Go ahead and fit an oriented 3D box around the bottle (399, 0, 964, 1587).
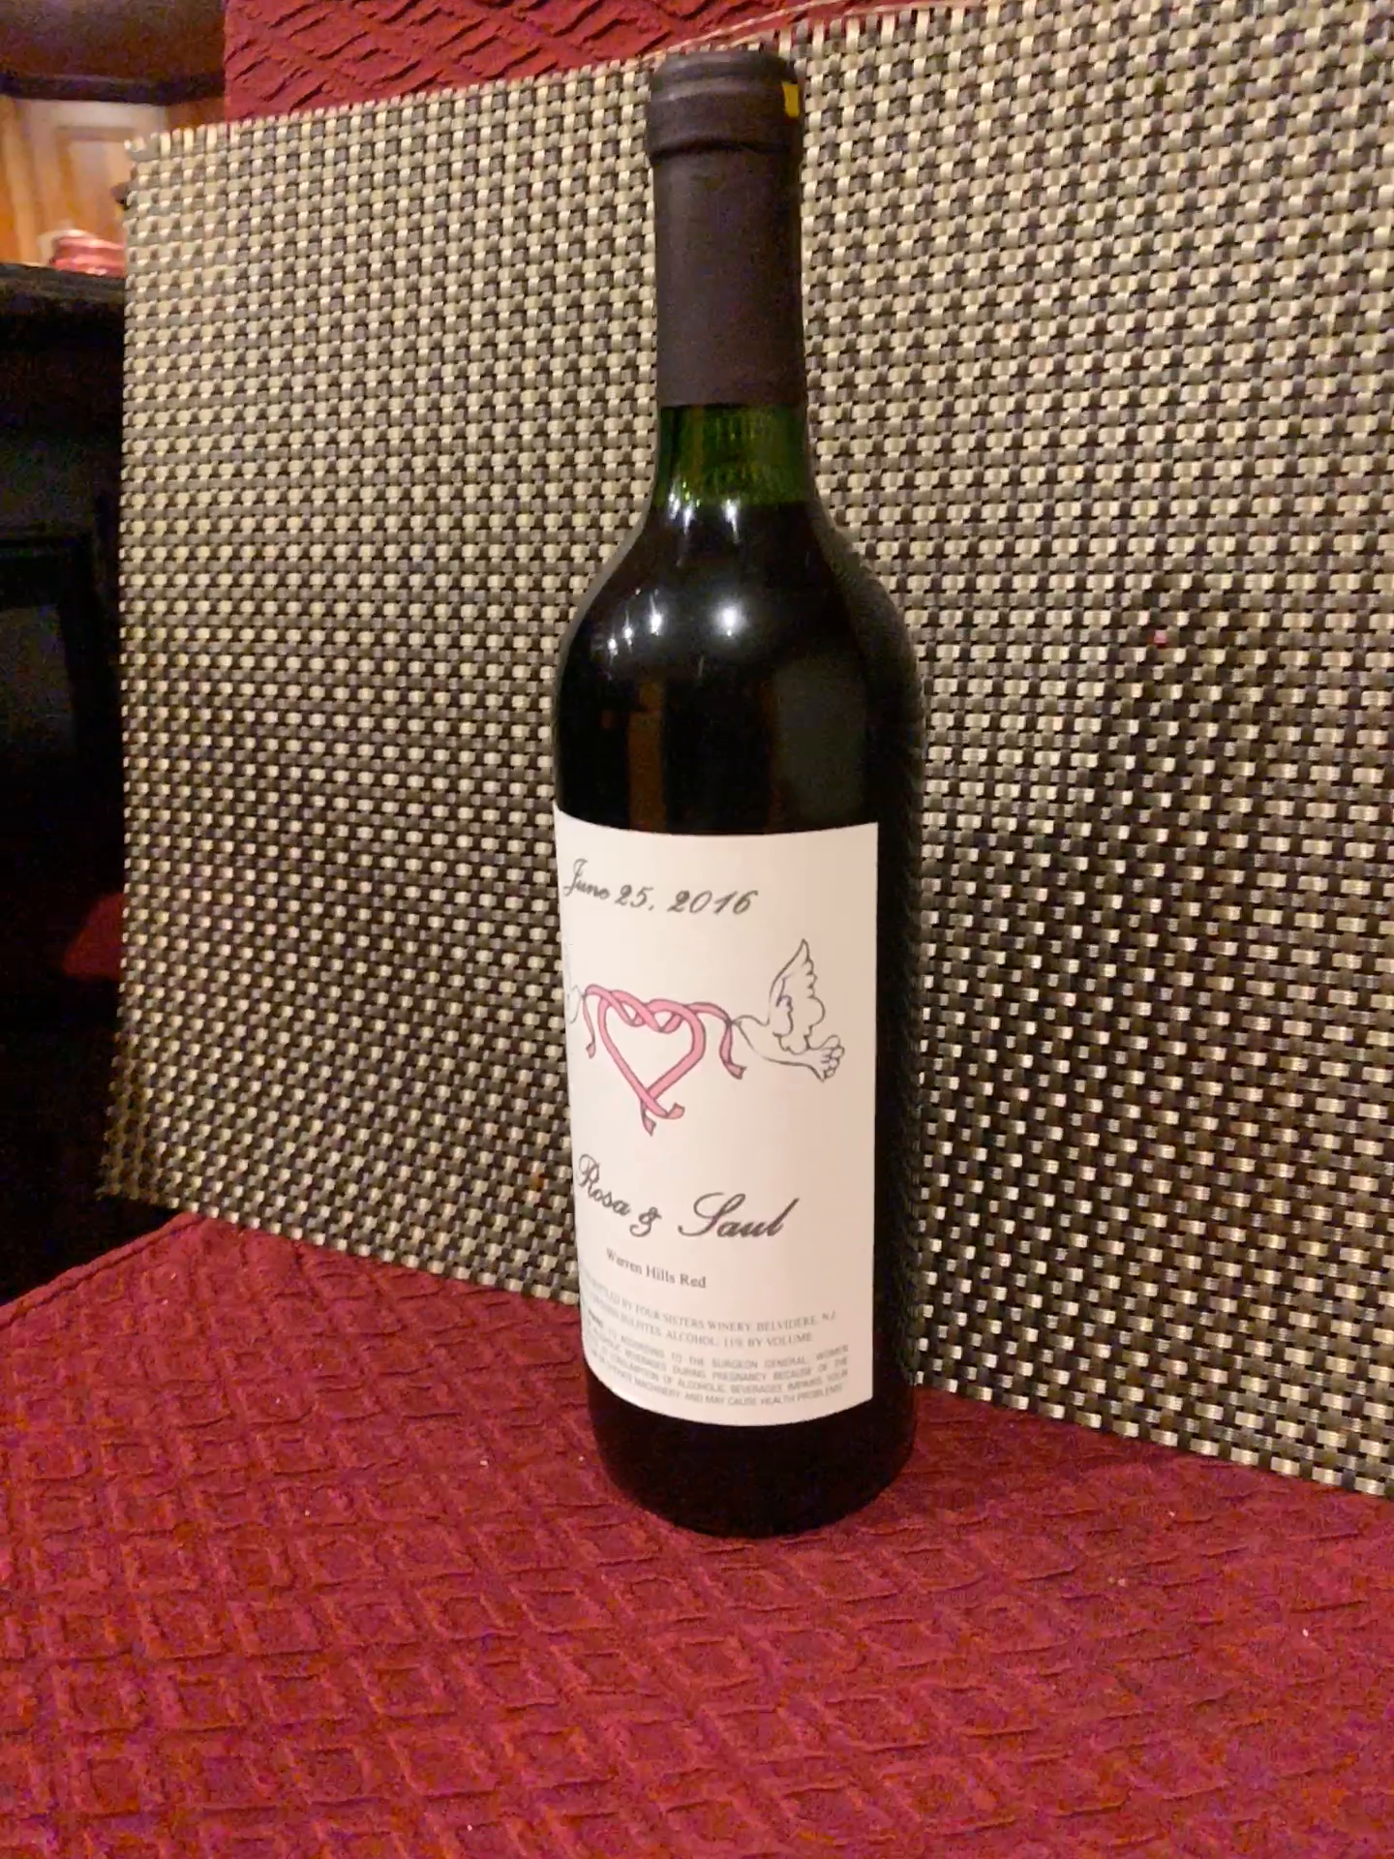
[{"bbox_3d":[0.003,-0.018,0.294,0.080,0.289,0.060,8,19,29],"label":"bottle"}]
